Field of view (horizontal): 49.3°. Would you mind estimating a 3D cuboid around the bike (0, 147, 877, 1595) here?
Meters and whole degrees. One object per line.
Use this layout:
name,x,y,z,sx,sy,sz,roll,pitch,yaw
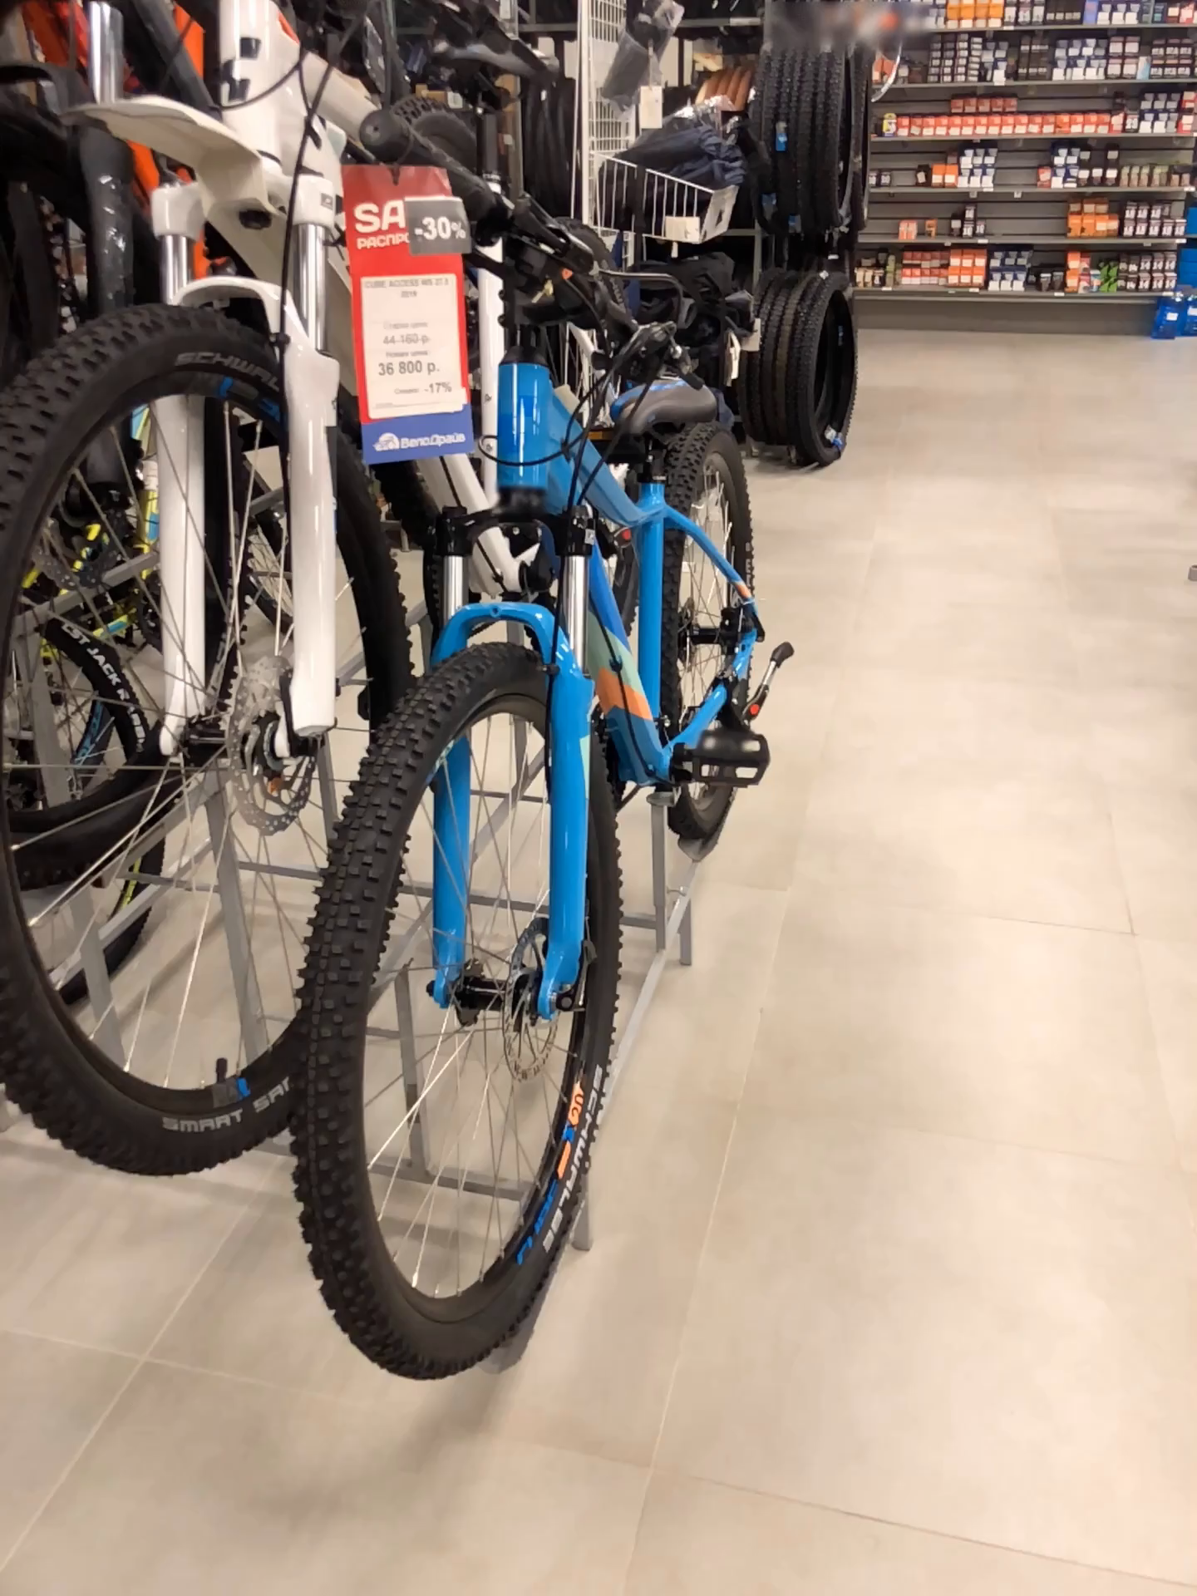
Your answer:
bike,-0.079,-0.192,1.642,0.630,1.082,1.711,6,28,13
